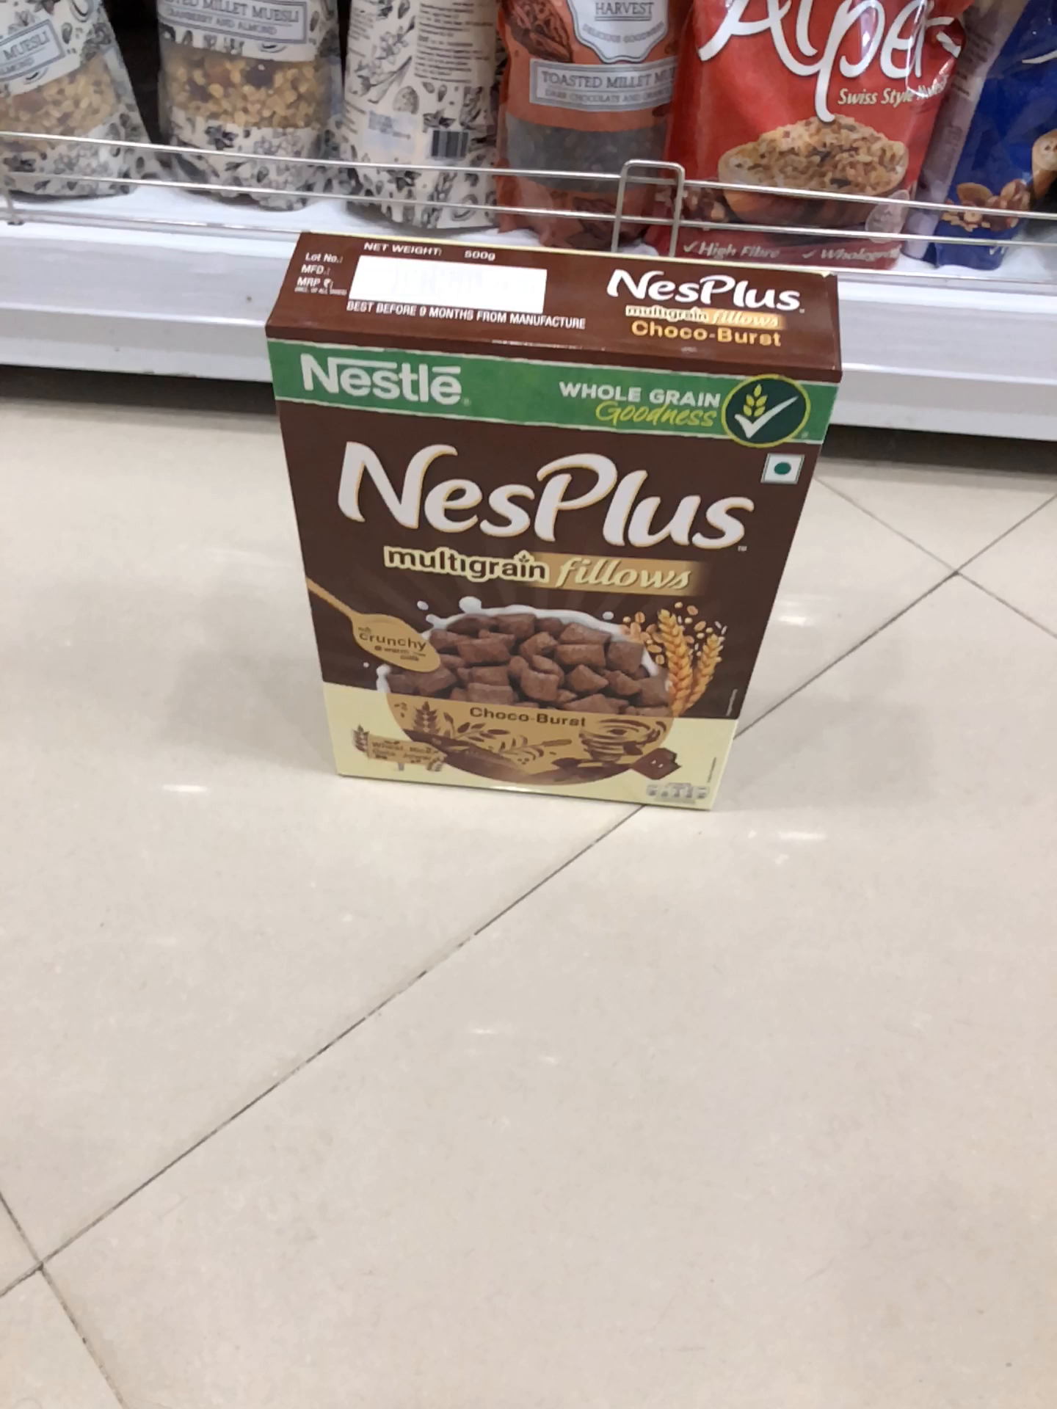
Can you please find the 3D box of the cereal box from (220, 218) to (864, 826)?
[{"bbox_3d":[0.001,-0.054,0.483,0.200,0.258,0.060,5,51,1],"label":"cereal box"}]
